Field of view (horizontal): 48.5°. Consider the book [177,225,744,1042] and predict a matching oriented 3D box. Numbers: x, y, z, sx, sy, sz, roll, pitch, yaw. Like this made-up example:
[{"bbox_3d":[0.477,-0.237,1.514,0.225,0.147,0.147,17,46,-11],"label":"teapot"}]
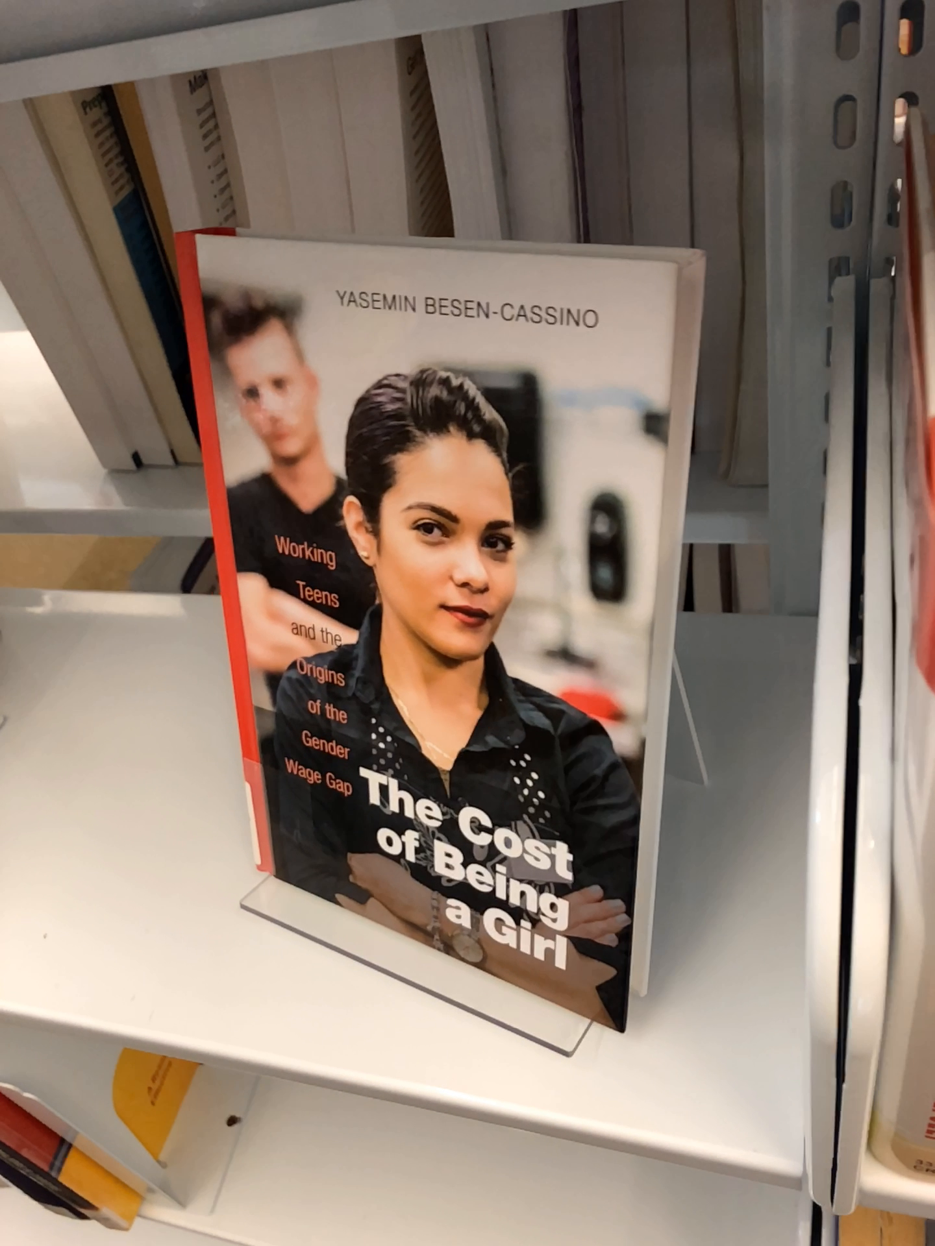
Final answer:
[{"bbox_3d":[-0.007,0.003,0.320,0.157,0.230,0.030,14,30,30],"label":"book"}]
